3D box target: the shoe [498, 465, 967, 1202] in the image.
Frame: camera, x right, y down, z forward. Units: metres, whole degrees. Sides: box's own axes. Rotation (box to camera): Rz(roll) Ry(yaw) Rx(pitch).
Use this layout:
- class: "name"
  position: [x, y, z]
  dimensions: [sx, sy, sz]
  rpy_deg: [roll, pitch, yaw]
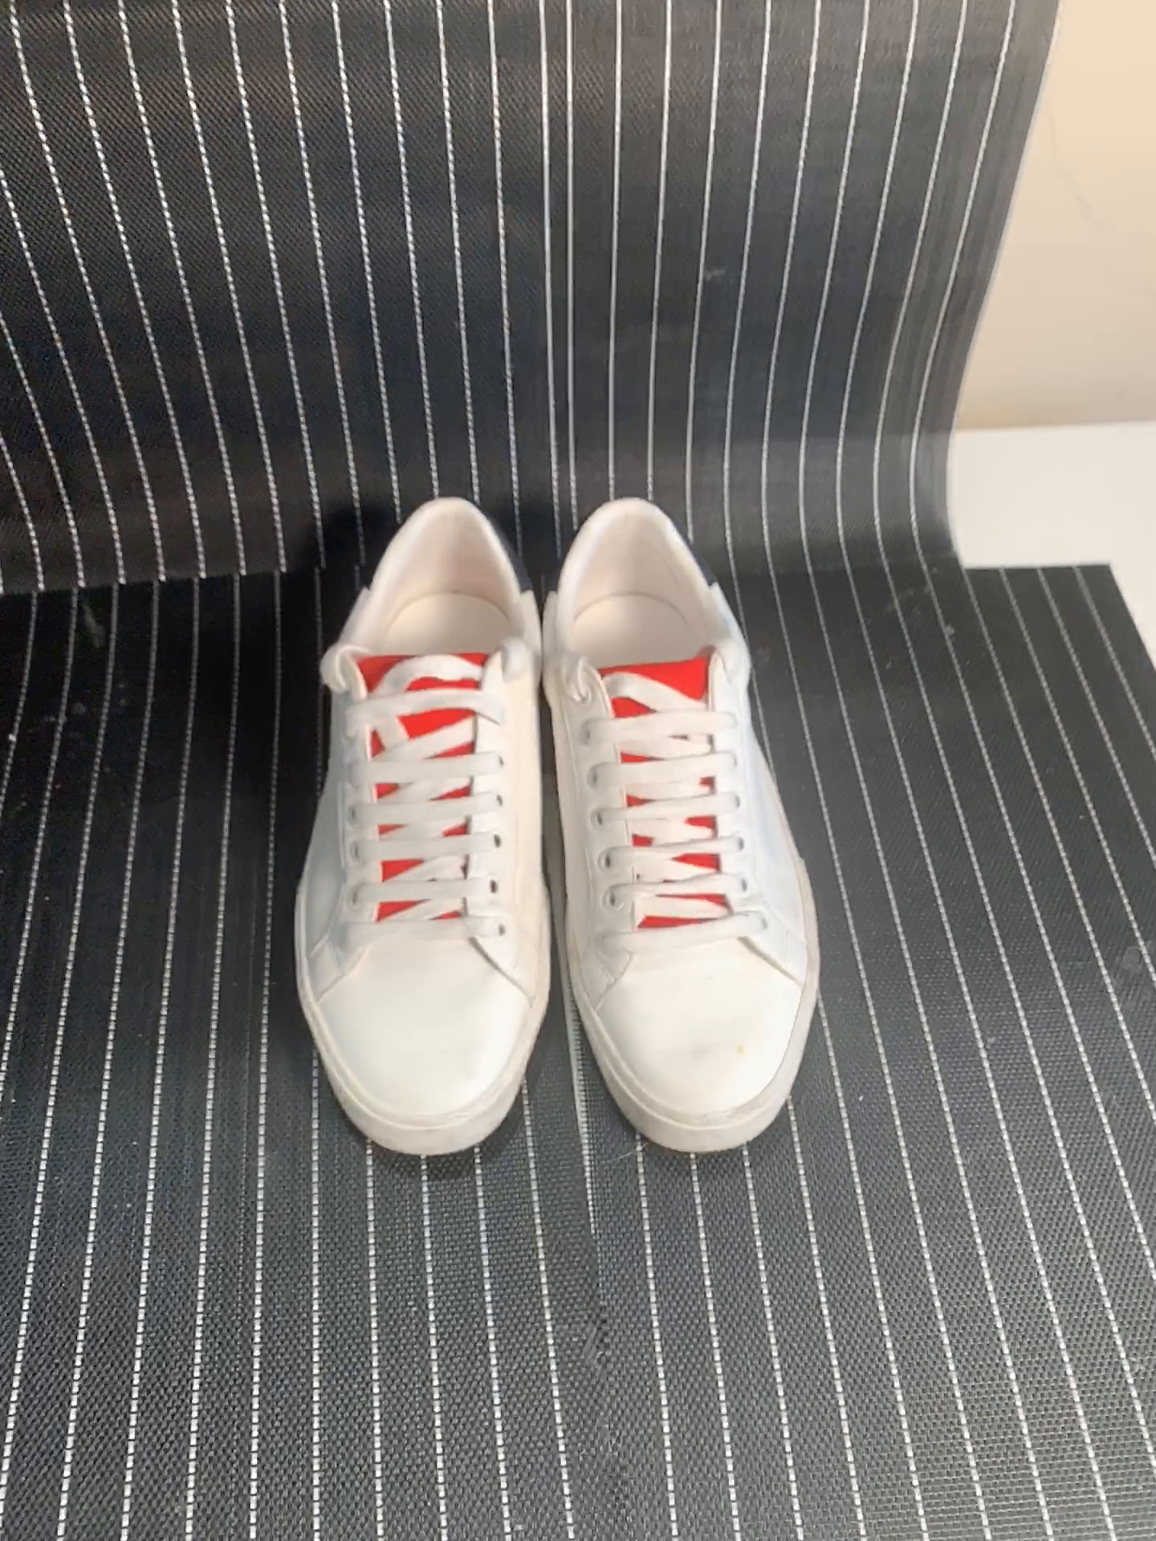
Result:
- class: "shoe"
  position: [0.043, 0.010, 0.495]
  dimensions: [0.120, 0.090, 0.291]
  rpy_deg: [-6, 55, -6]

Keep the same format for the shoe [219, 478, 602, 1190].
- class: "shoe"
  position: [-0.057, 0.012, 0.496]
  dimensions: [0.120, 0.090, 0.291]
  rpy_deg: [0, 55, -2]
